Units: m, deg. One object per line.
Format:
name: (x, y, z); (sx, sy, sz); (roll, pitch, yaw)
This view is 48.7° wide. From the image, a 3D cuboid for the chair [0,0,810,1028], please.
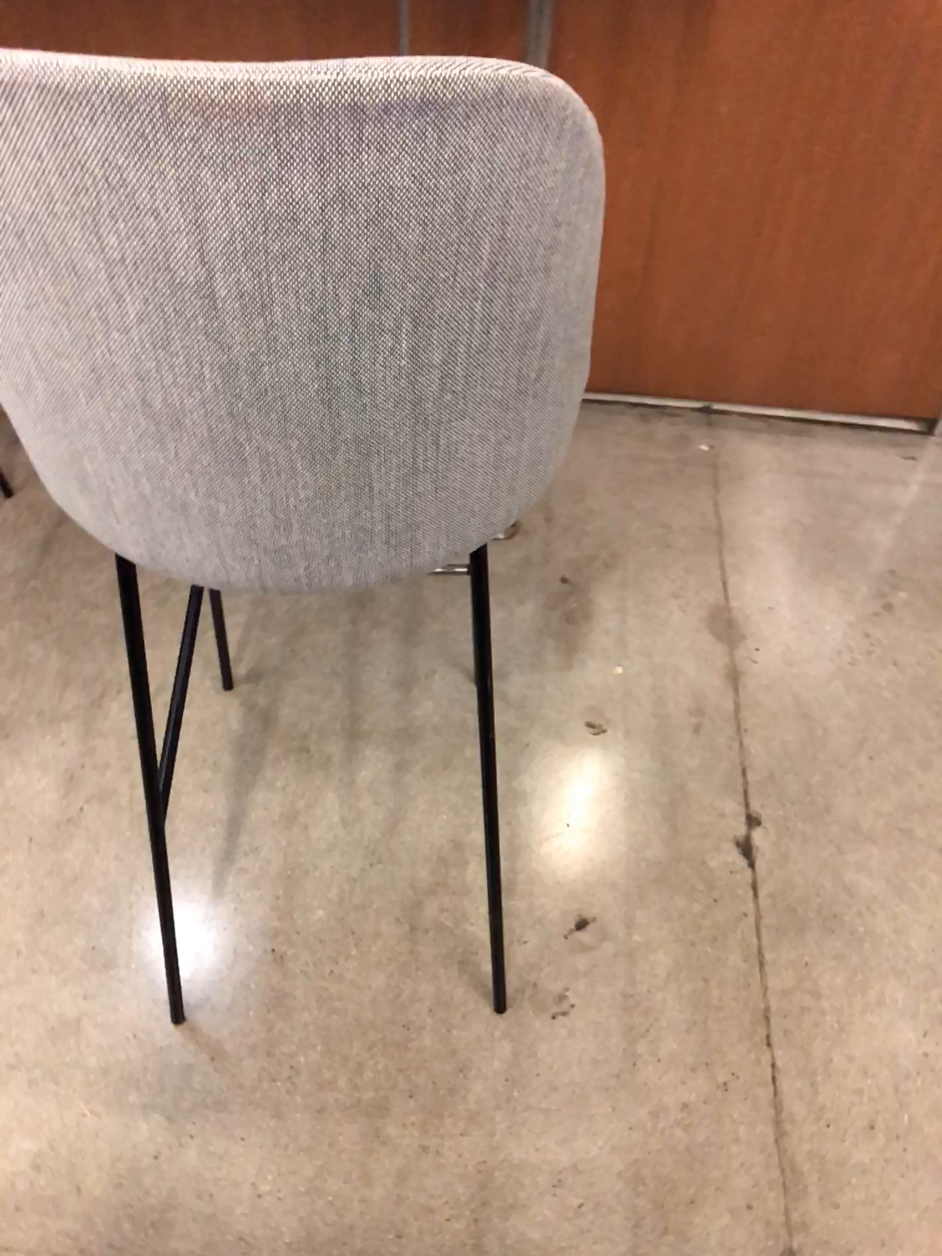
chair: (-0.125, -0.117, 1.030); (0.460, 1.095, 0.623); (1, 49, -3)
